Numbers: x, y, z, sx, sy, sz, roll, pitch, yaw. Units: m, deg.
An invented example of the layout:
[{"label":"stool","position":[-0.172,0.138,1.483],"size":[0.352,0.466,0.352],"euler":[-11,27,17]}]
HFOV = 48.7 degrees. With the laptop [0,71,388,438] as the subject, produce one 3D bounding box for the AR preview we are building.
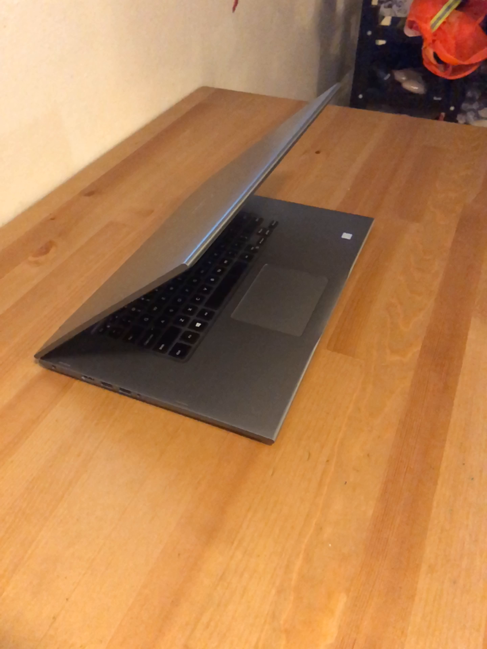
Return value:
[{"label":"laptop","position":[-0.021,-0.112,0.577],"size":[0.246,0.165,0.377],"euler":[16,45,18]}]
